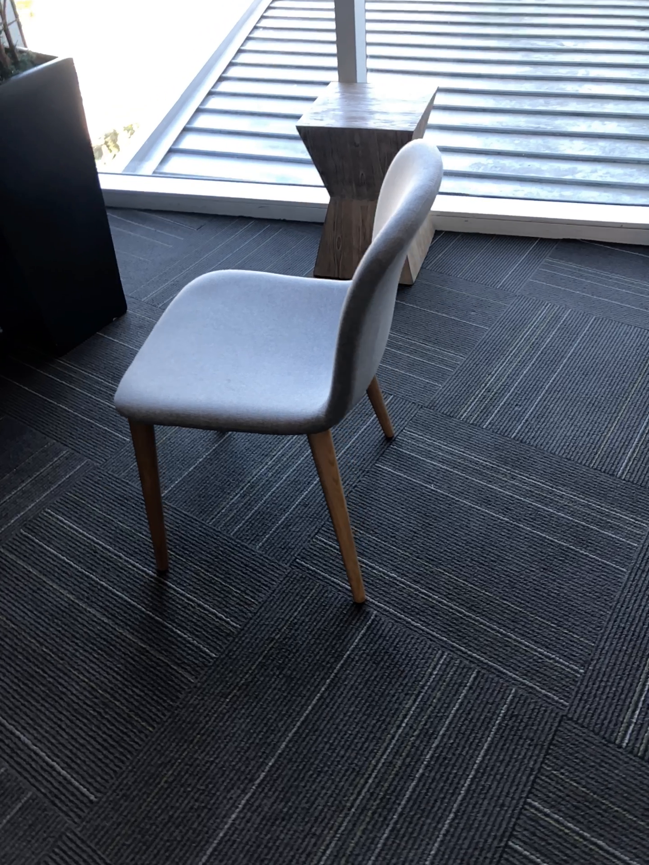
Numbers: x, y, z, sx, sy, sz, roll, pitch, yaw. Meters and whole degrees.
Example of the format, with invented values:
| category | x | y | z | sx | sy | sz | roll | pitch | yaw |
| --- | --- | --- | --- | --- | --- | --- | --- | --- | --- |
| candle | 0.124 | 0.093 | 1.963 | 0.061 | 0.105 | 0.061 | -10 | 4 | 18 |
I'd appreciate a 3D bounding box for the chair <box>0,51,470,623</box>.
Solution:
| category | x | y | z | sx | sy | sz | roll | pitch | yaw |
| --- | --- | --- | --- | --- | --- | --- | --- | --- | --- |
| chair | -0.105 | -0.170 | 1.363 | 0.610 | 0.846 | 0.562 | 8 | 44 | 10 |
